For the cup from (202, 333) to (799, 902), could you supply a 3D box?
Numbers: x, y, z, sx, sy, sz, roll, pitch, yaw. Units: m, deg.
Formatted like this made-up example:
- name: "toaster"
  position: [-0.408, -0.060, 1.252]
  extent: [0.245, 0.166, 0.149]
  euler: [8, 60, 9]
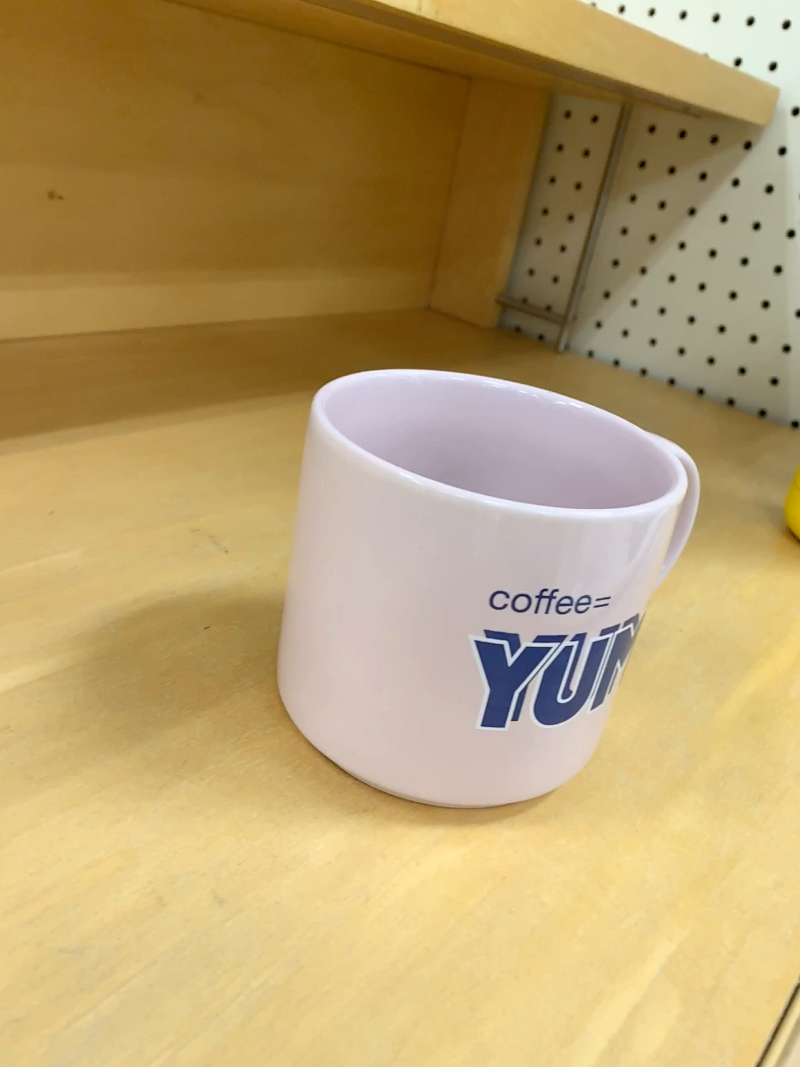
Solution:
- name: "cup"
  position: [0.036, 0.003, 0.228]
  extent: [0.096, 0.082, 0.142]
  euler: [31, 33, 35]
